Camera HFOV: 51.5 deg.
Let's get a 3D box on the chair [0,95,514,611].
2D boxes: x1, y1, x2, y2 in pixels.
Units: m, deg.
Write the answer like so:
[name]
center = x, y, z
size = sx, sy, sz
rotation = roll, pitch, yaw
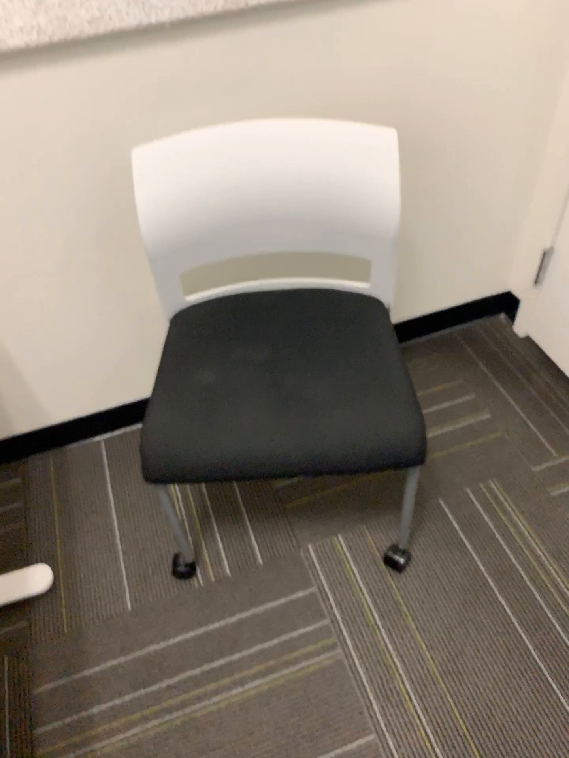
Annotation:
[chair]
center = -0.034, -0.022, 1.201
size = 0.620, 0.776, 0.623
rotation = -6, 47, -1
